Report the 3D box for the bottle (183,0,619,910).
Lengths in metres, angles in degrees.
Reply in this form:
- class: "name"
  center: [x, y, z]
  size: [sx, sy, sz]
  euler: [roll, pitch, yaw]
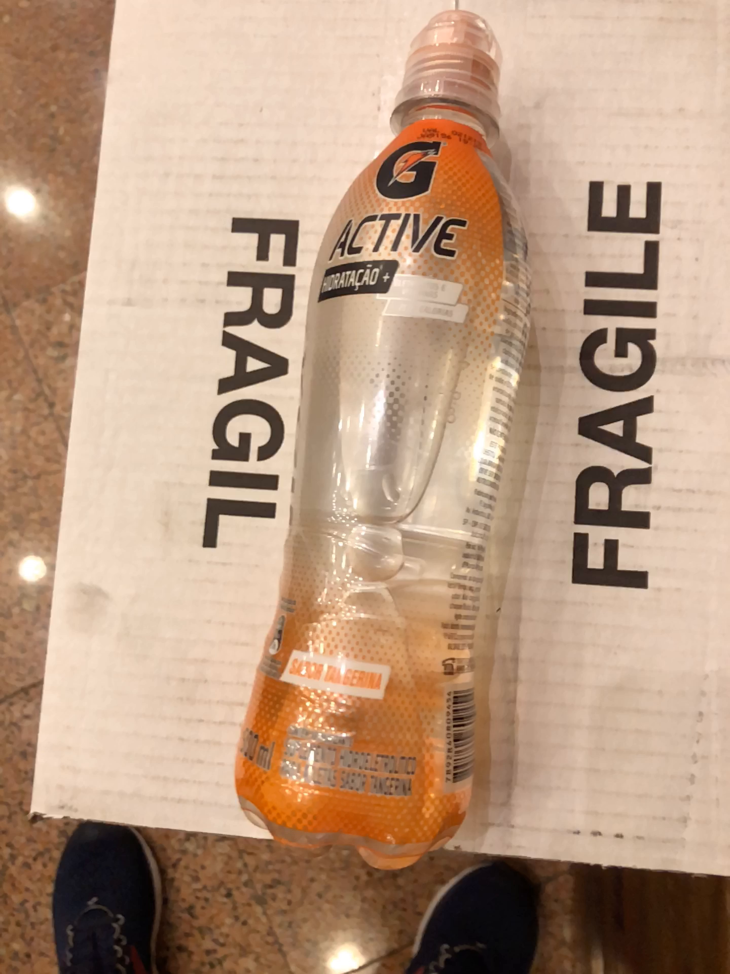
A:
- class: "bottle"
  center: [0.014, -0.031, 0.226]
  size: [0.070, 0.060, 0.250]
  euler: [8, 85, 7]
